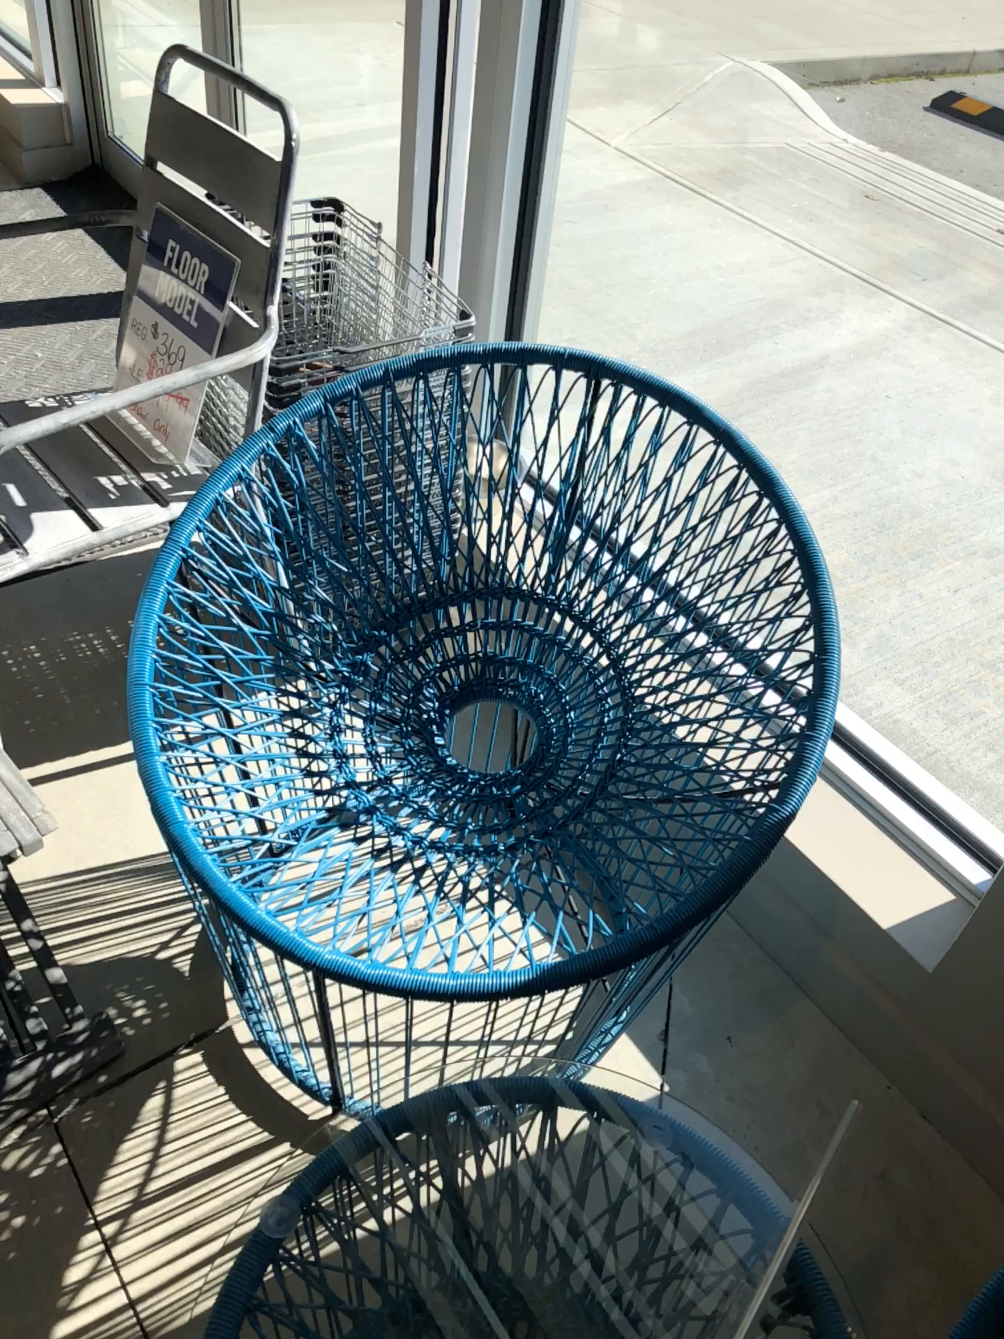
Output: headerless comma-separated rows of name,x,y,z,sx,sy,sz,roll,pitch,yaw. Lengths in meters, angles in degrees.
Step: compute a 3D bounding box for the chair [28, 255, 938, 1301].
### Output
chair,-0.001,0.146,1.421,0.721,0.993,0.664,18,42,12
